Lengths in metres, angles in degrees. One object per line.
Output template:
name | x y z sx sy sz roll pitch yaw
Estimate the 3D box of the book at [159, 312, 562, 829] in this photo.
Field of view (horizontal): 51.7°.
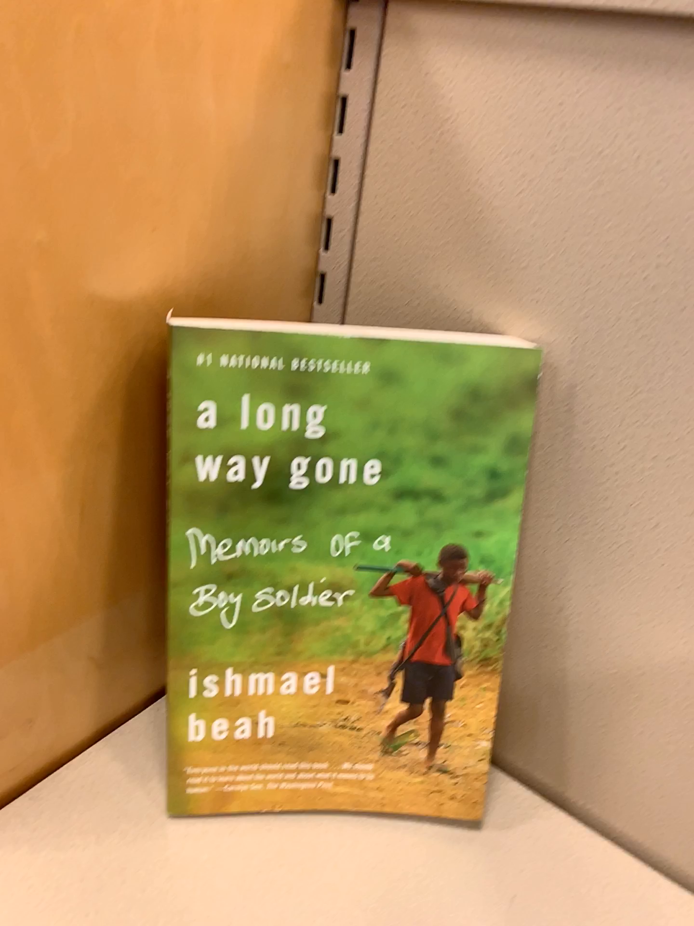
book | -0.002 0.052 0.288 0.140 0.209 0.020 3 16 -4
